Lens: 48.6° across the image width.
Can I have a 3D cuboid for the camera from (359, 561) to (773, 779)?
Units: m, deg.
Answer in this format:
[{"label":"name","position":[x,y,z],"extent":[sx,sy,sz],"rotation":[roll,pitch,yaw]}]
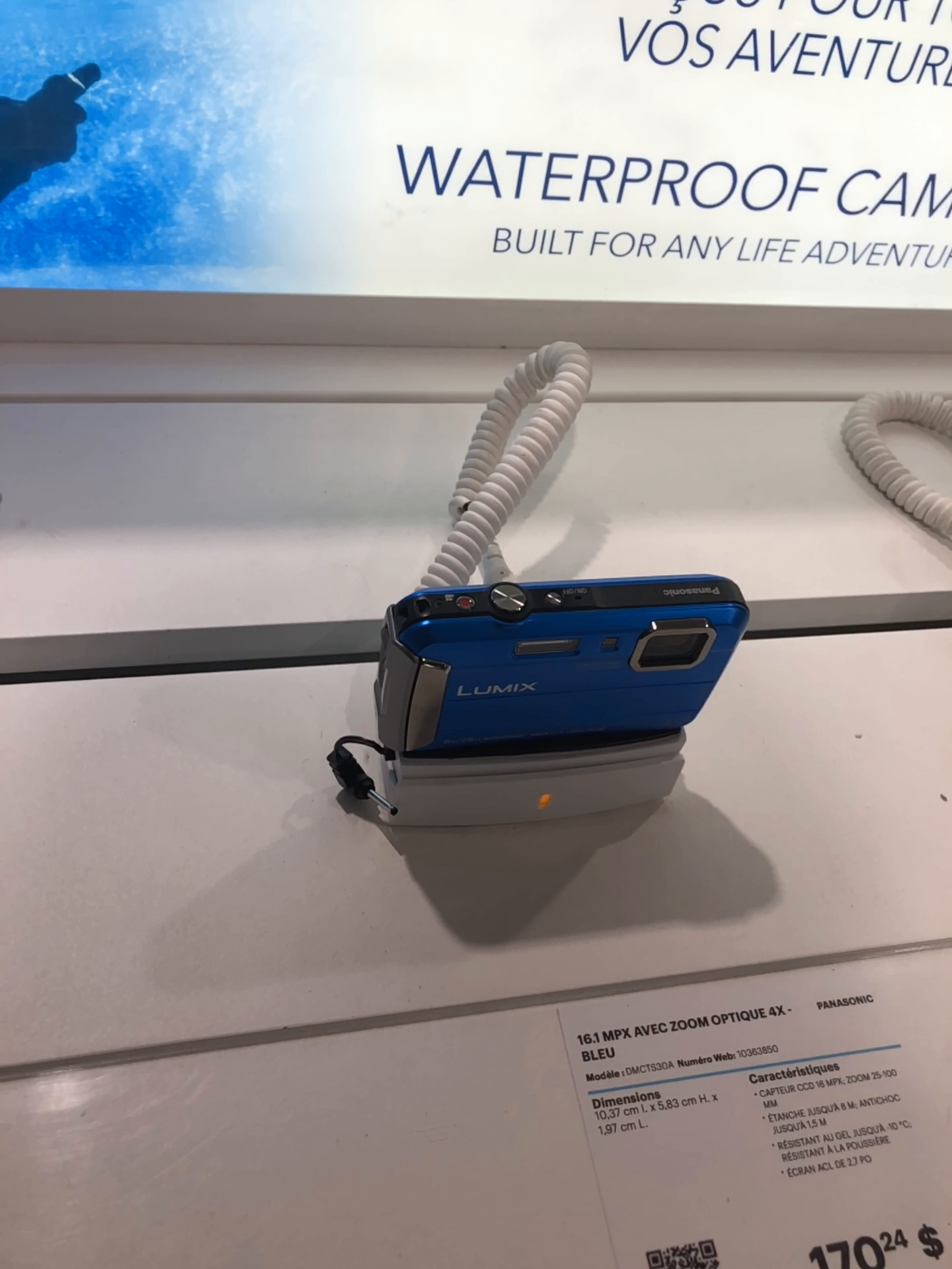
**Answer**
[{"label":"camera","position":[0.022,0.010,0.299],"extent":[0.106,0.060,0.020],"rotation":[-4,49,-14]}]
